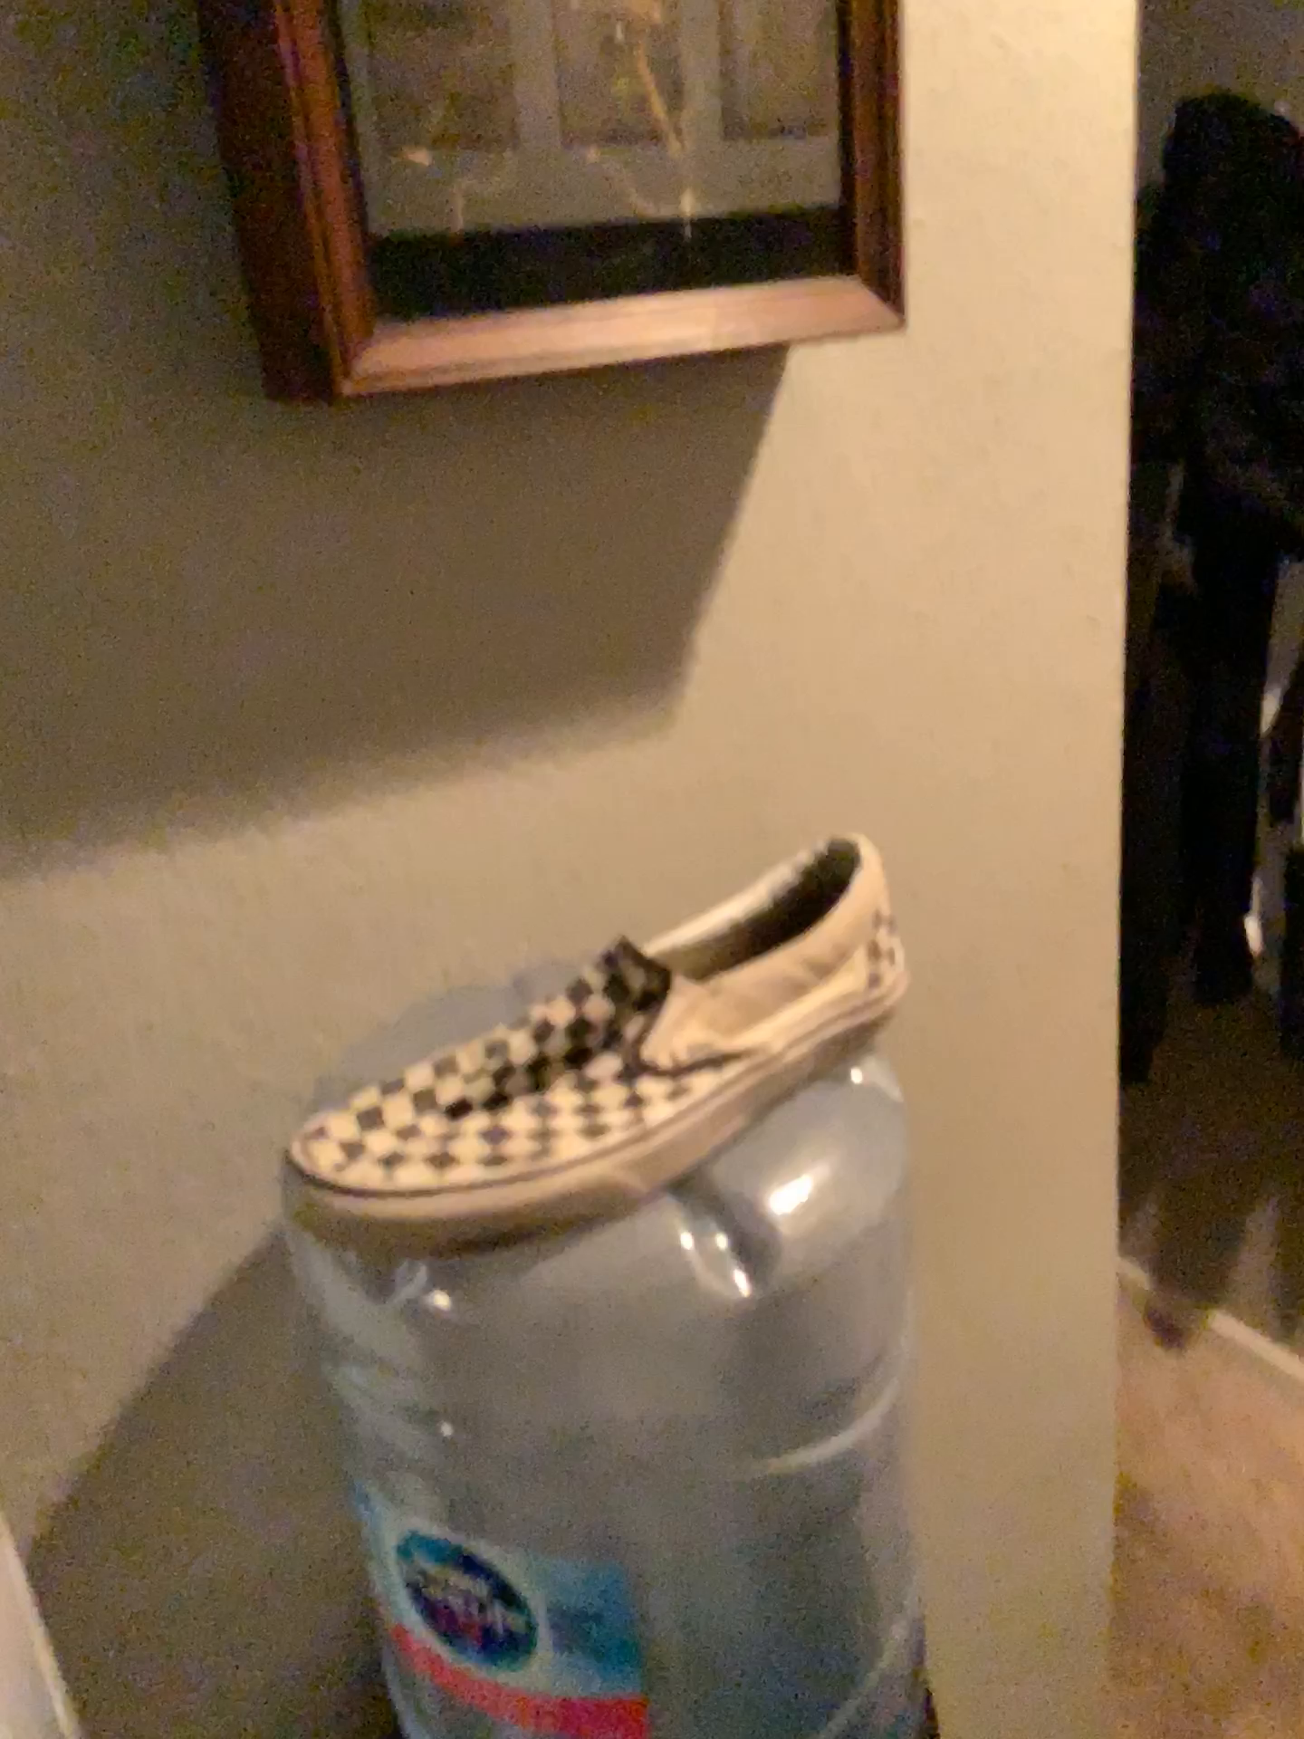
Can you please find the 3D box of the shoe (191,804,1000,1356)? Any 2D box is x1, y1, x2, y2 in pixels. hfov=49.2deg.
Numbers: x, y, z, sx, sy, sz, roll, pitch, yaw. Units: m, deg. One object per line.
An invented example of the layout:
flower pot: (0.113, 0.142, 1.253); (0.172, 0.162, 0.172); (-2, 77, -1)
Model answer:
shoe: (-0.015, 0.063, 0.556); (0.280, 0.080, 0.130); (-18, 25, -26)
